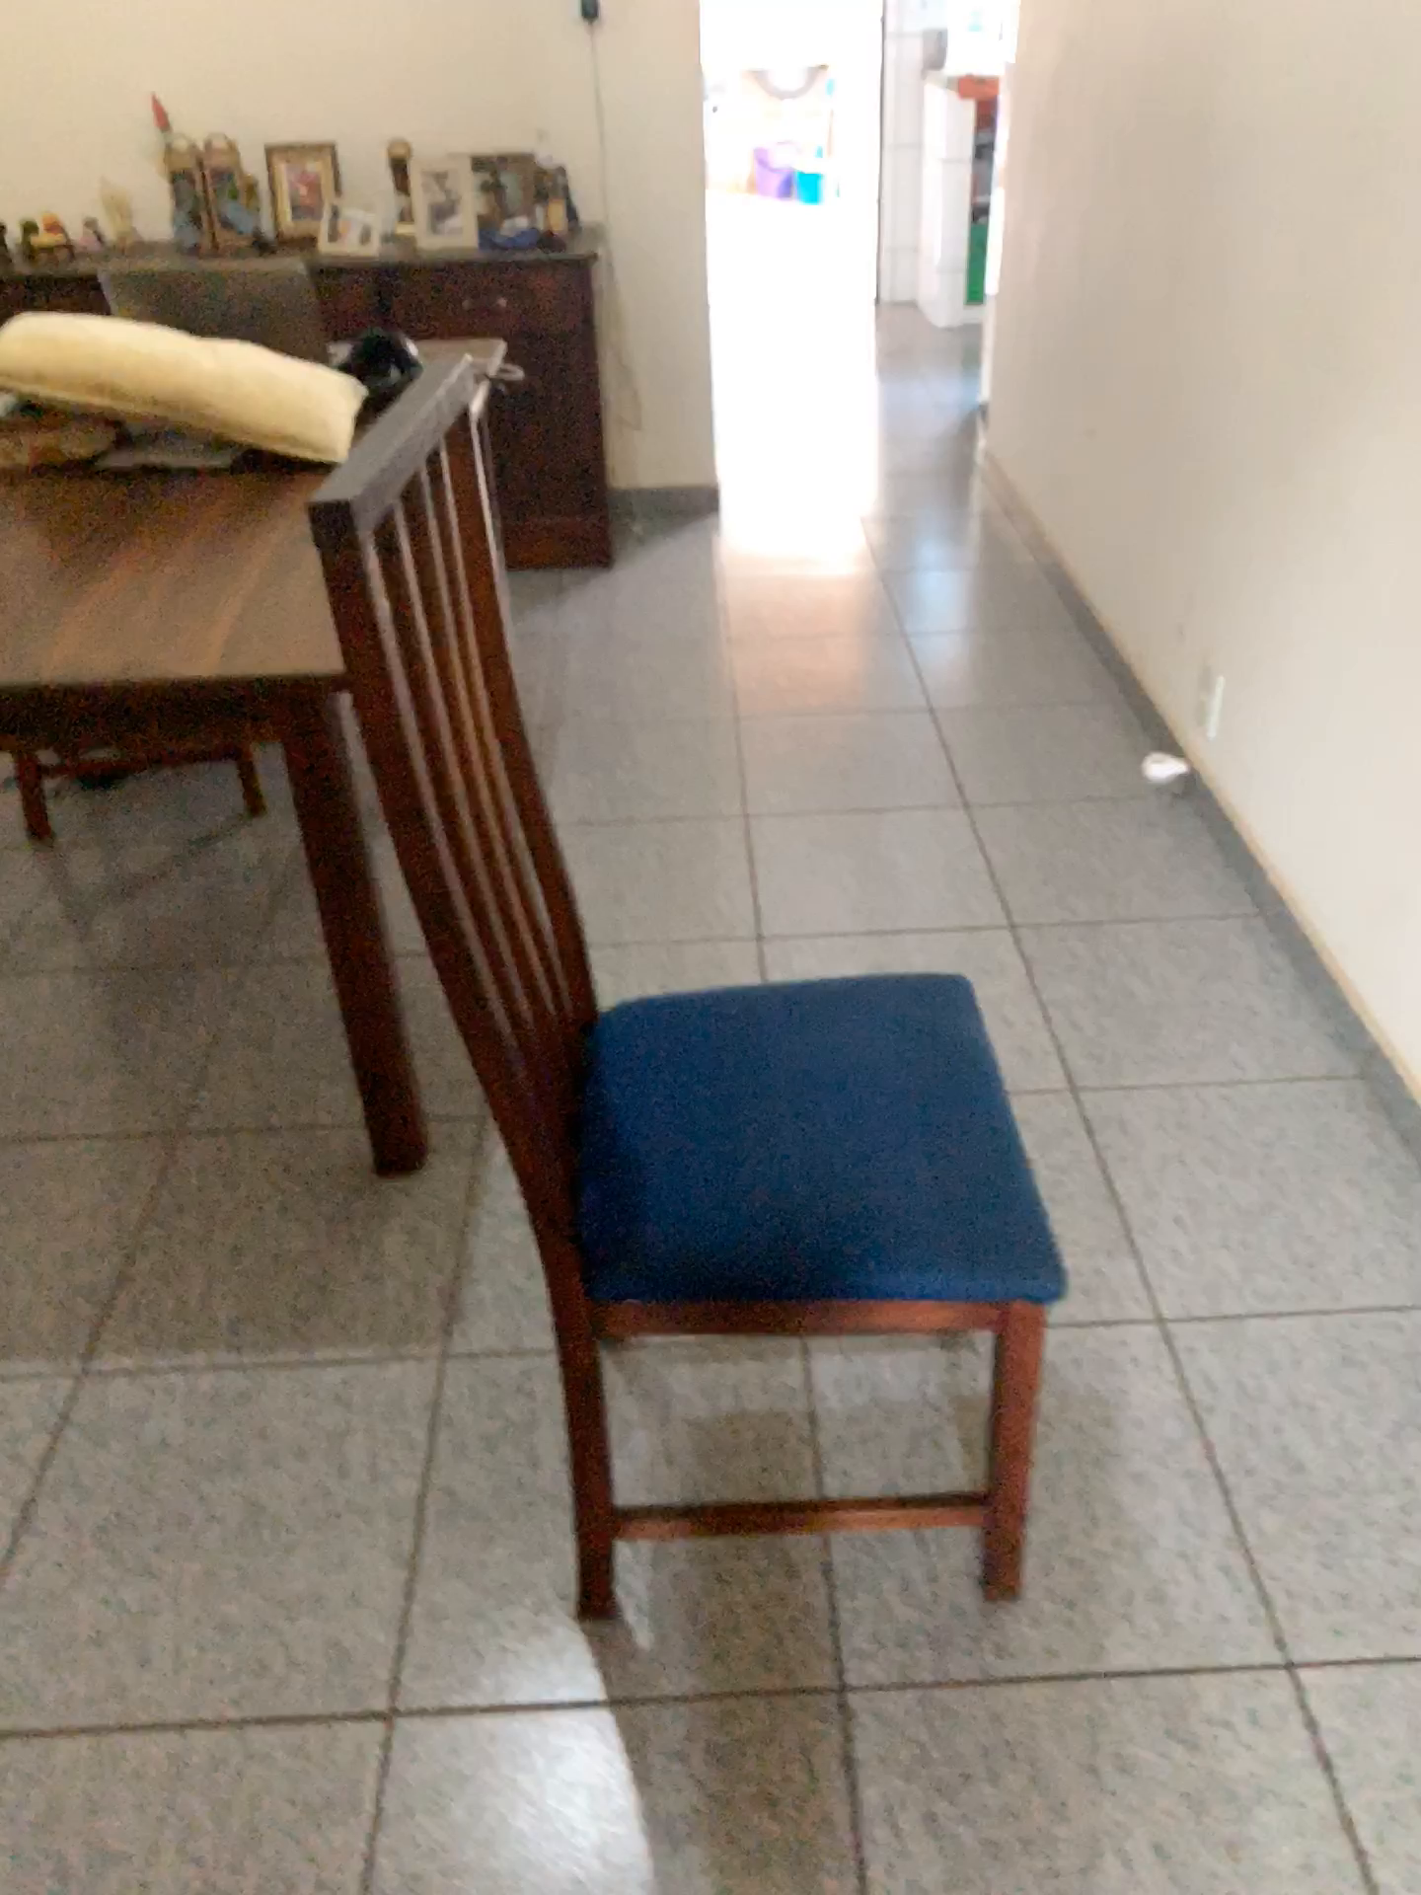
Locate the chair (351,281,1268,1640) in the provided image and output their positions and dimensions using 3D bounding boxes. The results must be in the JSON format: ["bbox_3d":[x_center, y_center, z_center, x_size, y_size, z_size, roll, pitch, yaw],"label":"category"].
[{"bbox_3d":[0.070,0.054,1.321,0.520,1.124,0.473,-3,31,0],"label":"chair"}]
